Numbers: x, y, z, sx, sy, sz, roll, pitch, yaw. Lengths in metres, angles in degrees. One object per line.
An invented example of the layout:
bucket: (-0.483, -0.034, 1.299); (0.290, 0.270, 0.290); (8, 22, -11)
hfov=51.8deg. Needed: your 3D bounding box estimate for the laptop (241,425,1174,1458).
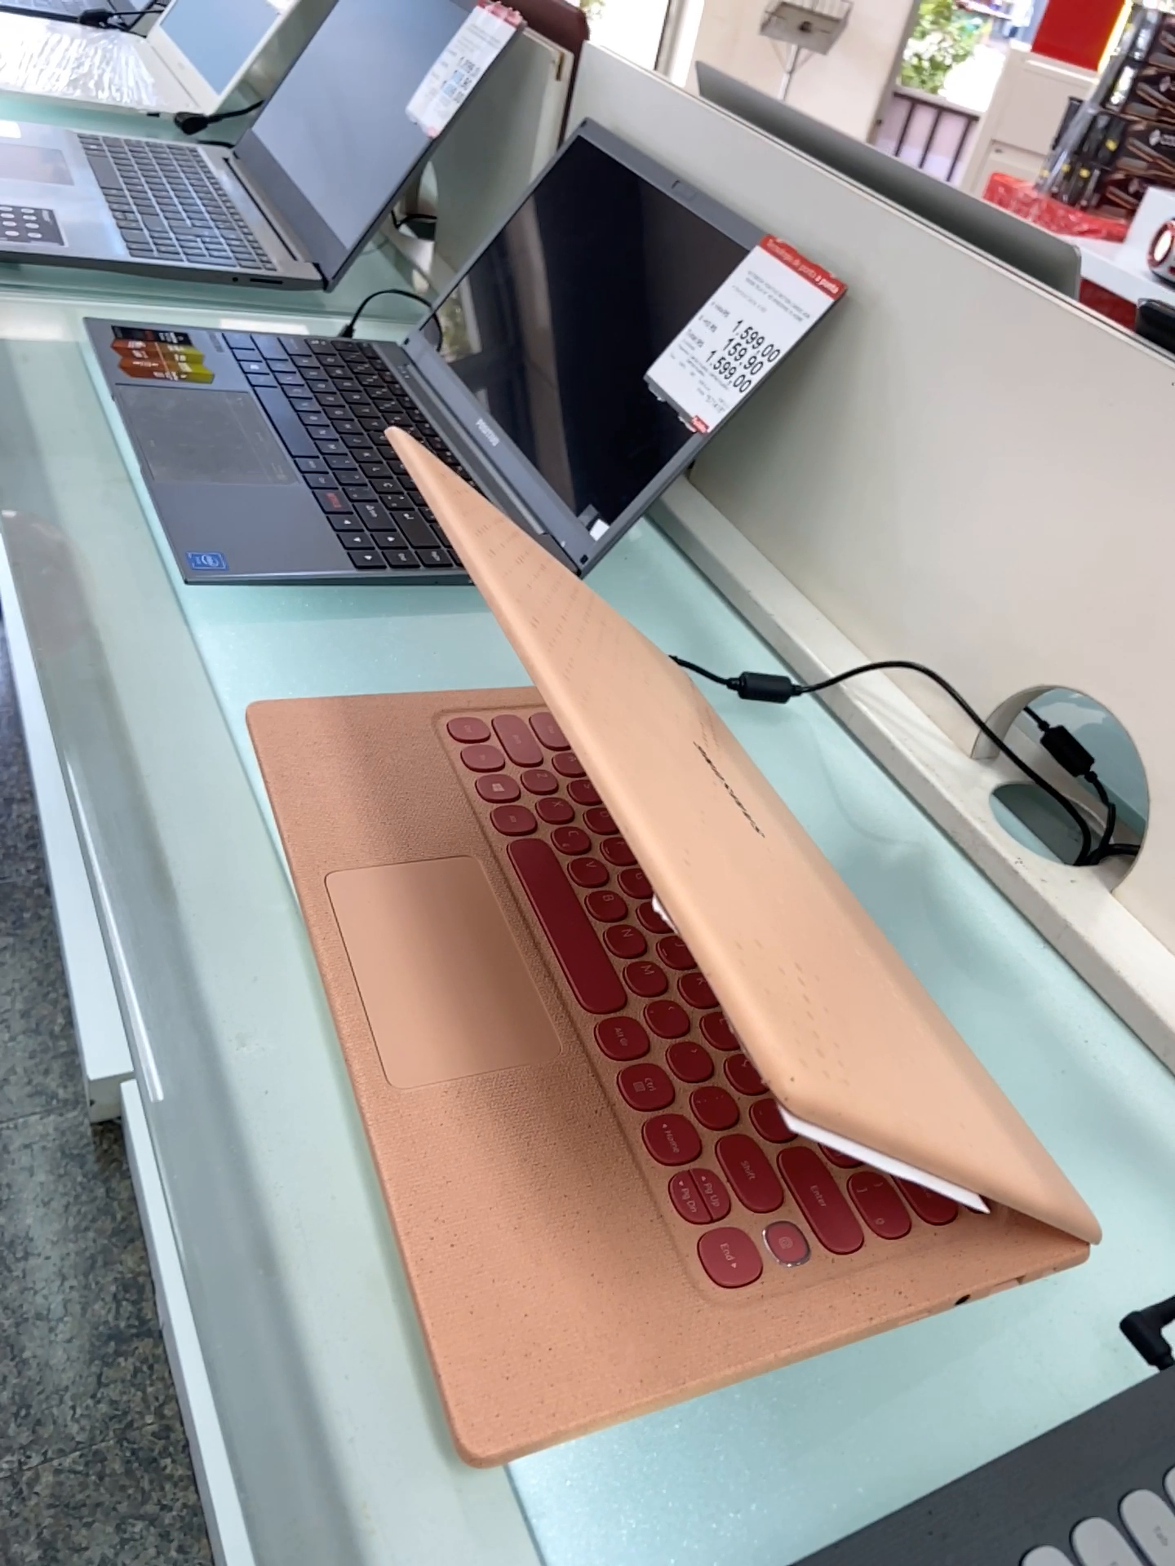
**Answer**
laptop: (0.018, 0.010, 0.422); (0.211, 0.129, 0.324); (-5, 41, -25)
